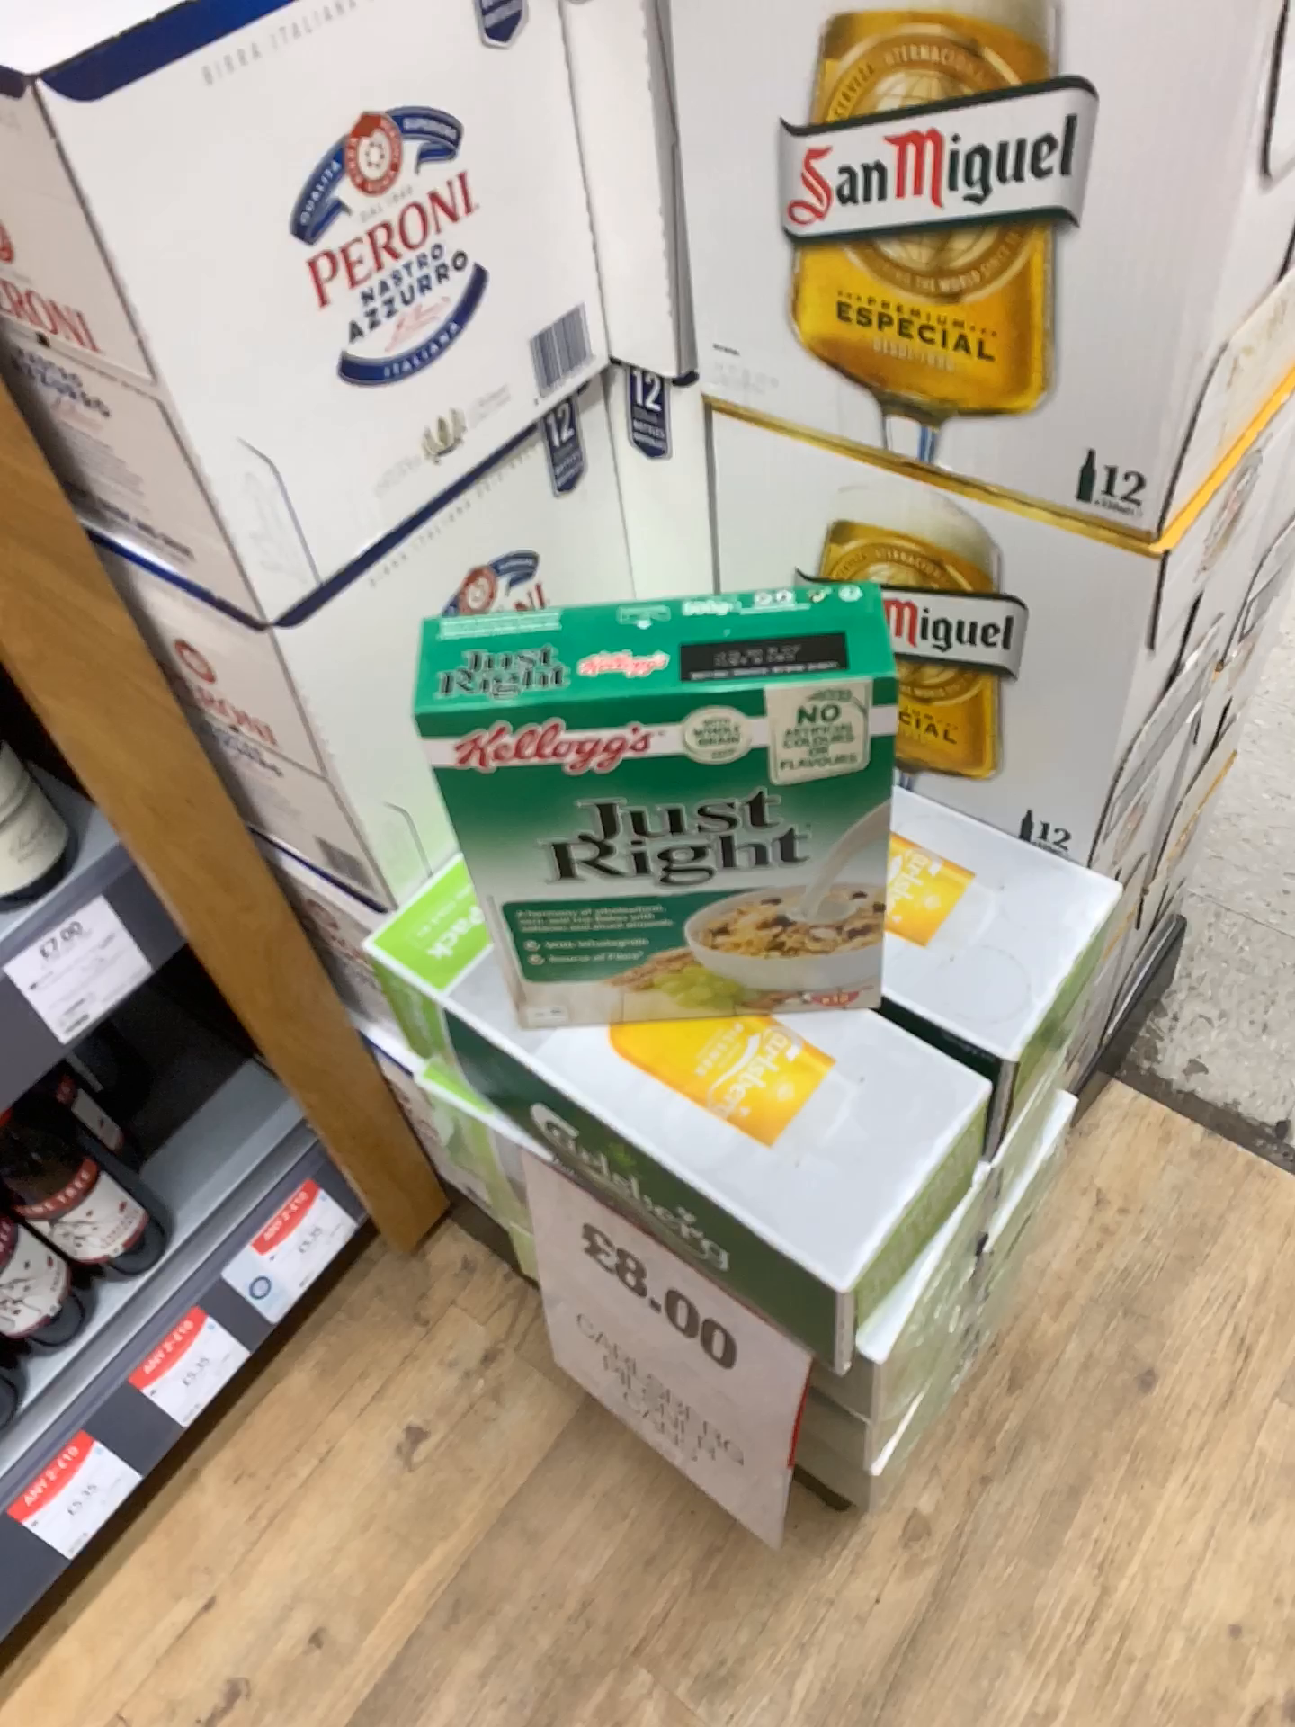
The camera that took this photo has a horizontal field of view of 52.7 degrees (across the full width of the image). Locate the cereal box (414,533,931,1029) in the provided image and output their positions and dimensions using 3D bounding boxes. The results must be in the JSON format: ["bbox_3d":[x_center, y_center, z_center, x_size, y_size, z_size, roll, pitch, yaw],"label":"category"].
[{"bbox_3d":[0.021,-0.022,0.594,0.190,0.238,0.071,-4,52,5],"label":"cereal box"}]
